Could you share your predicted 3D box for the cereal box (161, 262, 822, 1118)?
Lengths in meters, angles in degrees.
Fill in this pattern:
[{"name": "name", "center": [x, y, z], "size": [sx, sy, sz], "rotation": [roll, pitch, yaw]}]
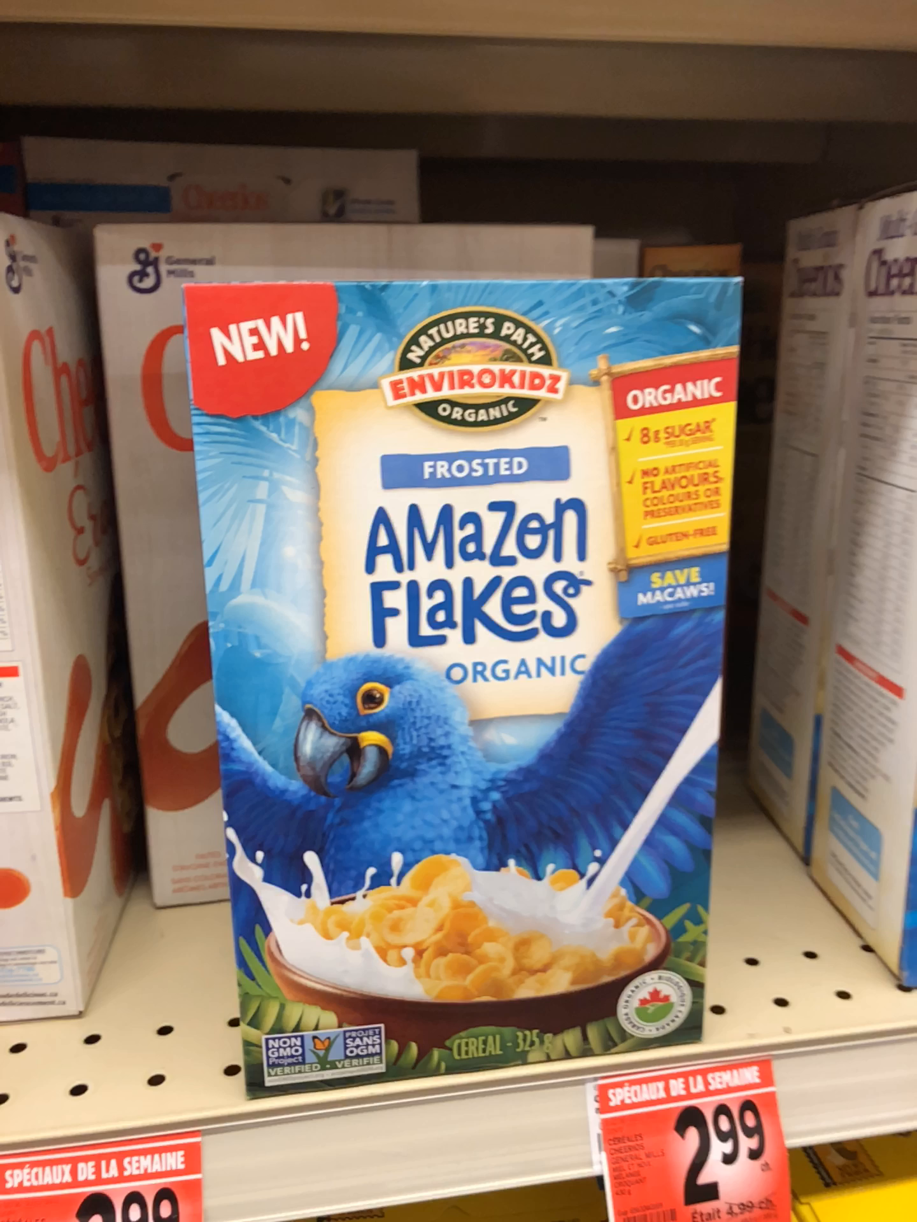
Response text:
[{"name": "cereal box", "center": [0.010, 0.024, 0.315], "size": [0.170, 0.249, 0.050], "rotation": [-3, 17, -9]}]
